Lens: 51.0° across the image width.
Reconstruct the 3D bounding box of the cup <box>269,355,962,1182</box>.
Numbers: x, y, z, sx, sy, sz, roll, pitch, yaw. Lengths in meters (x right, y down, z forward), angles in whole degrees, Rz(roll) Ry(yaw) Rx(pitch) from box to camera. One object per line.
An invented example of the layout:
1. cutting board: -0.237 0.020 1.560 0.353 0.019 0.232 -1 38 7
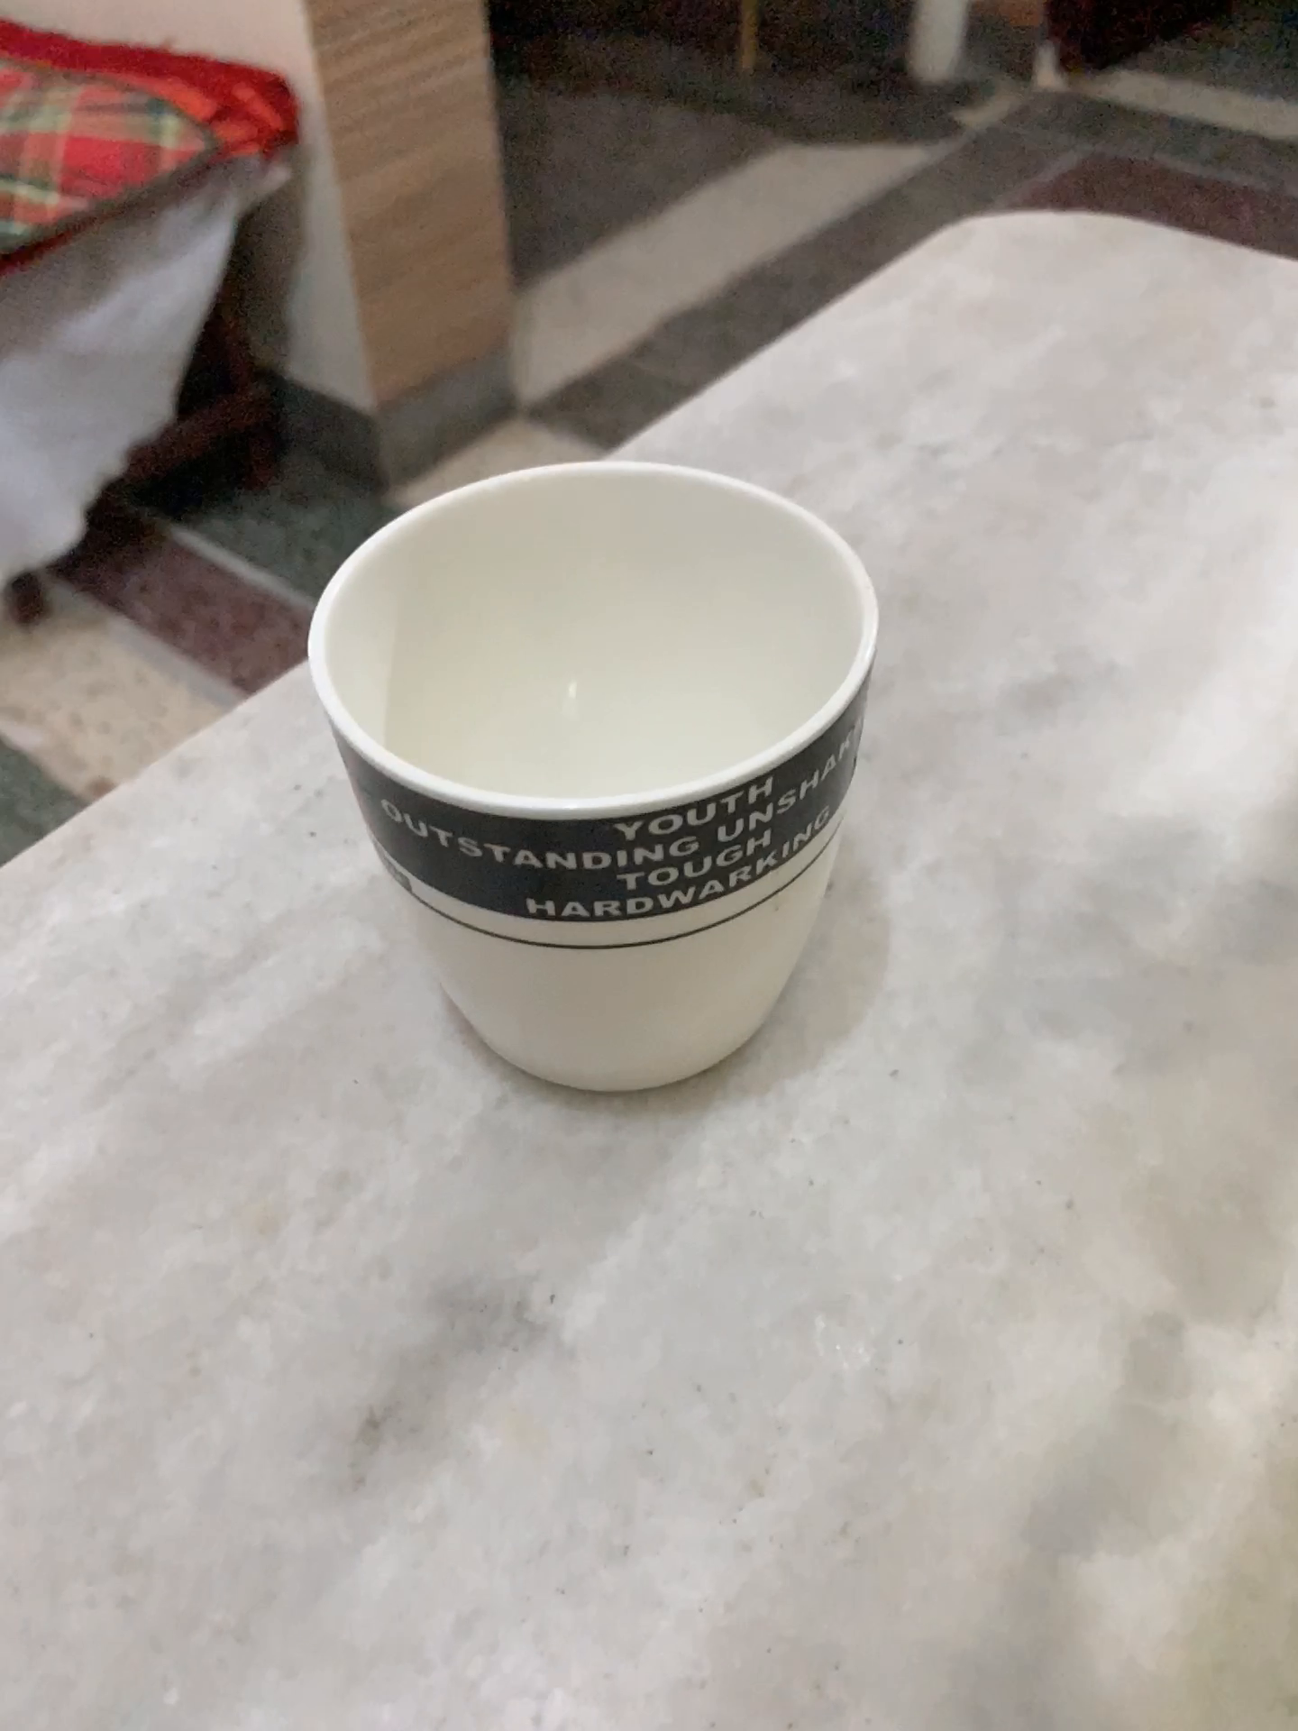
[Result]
1. cup: -0.009 -0.017 0.188 0.070 0.060 0.090 -9 48 -5
